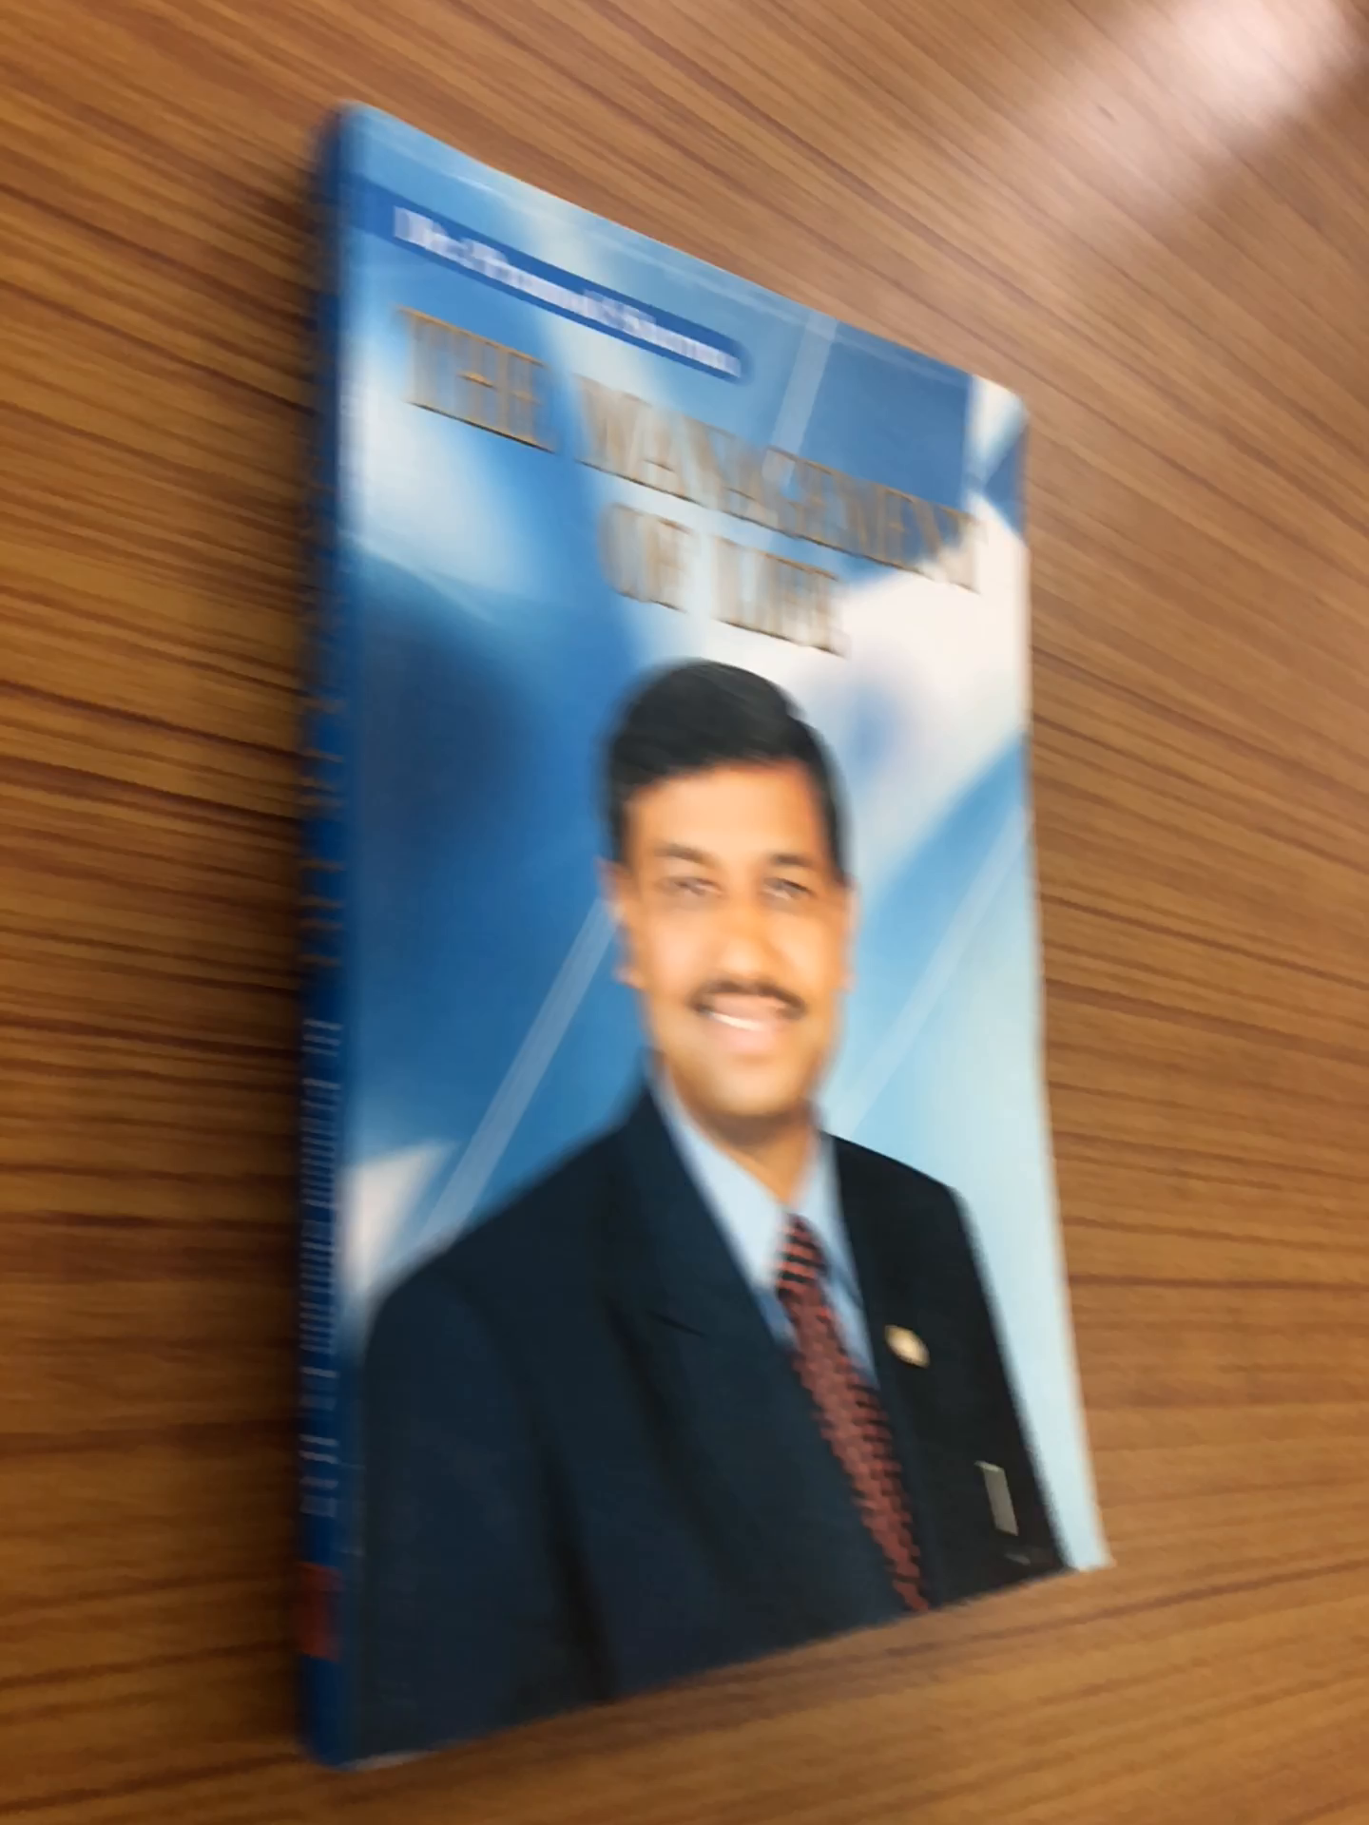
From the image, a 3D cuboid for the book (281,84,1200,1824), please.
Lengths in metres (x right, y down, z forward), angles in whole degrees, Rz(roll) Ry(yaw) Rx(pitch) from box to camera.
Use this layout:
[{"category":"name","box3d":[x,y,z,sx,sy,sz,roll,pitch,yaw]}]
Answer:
[{"category":"book","box3d":[0.016,0.004,0.234,0.151,0.020,0.210,6,78,-37]}]
